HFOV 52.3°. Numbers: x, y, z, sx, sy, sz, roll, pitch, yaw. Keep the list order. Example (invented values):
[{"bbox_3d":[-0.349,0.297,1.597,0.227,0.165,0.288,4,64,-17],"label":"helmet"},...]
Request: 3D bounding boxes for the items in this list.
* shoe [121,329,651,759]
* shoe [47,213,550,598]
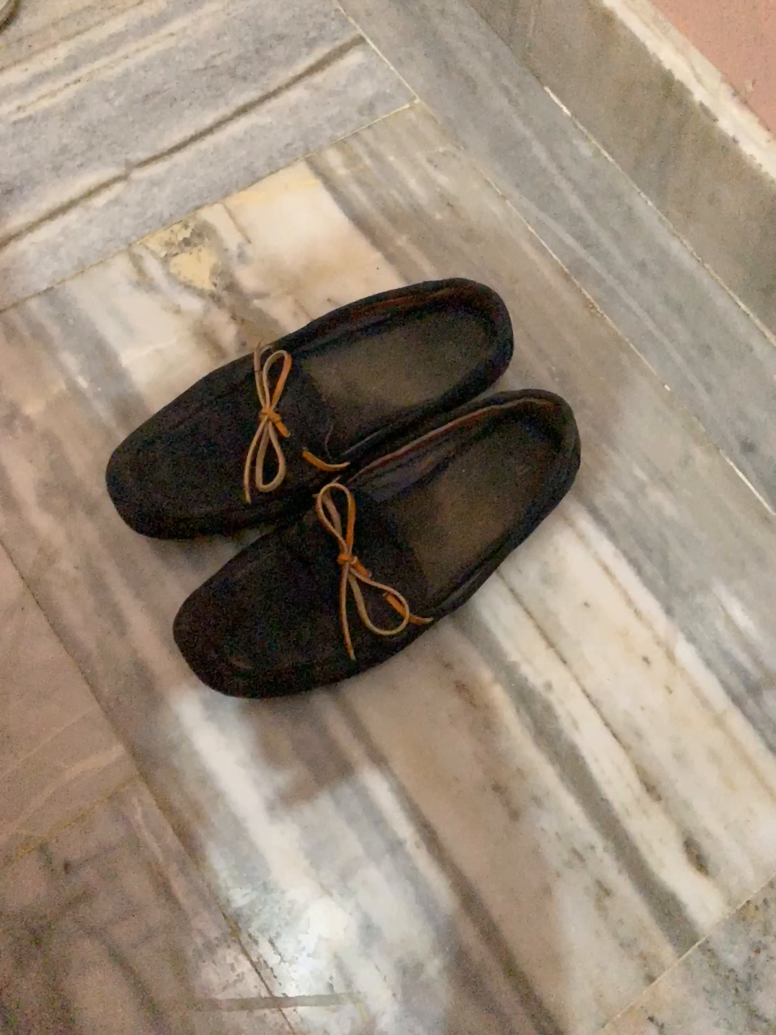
[{"bbox_3d":[0.003,0.013,0.503,0.300,0.070,0.120,-32,78,-13],"label":"shoe"},{"bbox_3d":[-0.052,-0.075,0.513,0.280,0.070,0.120,-29,78,-13],"label":"shoe"}]
